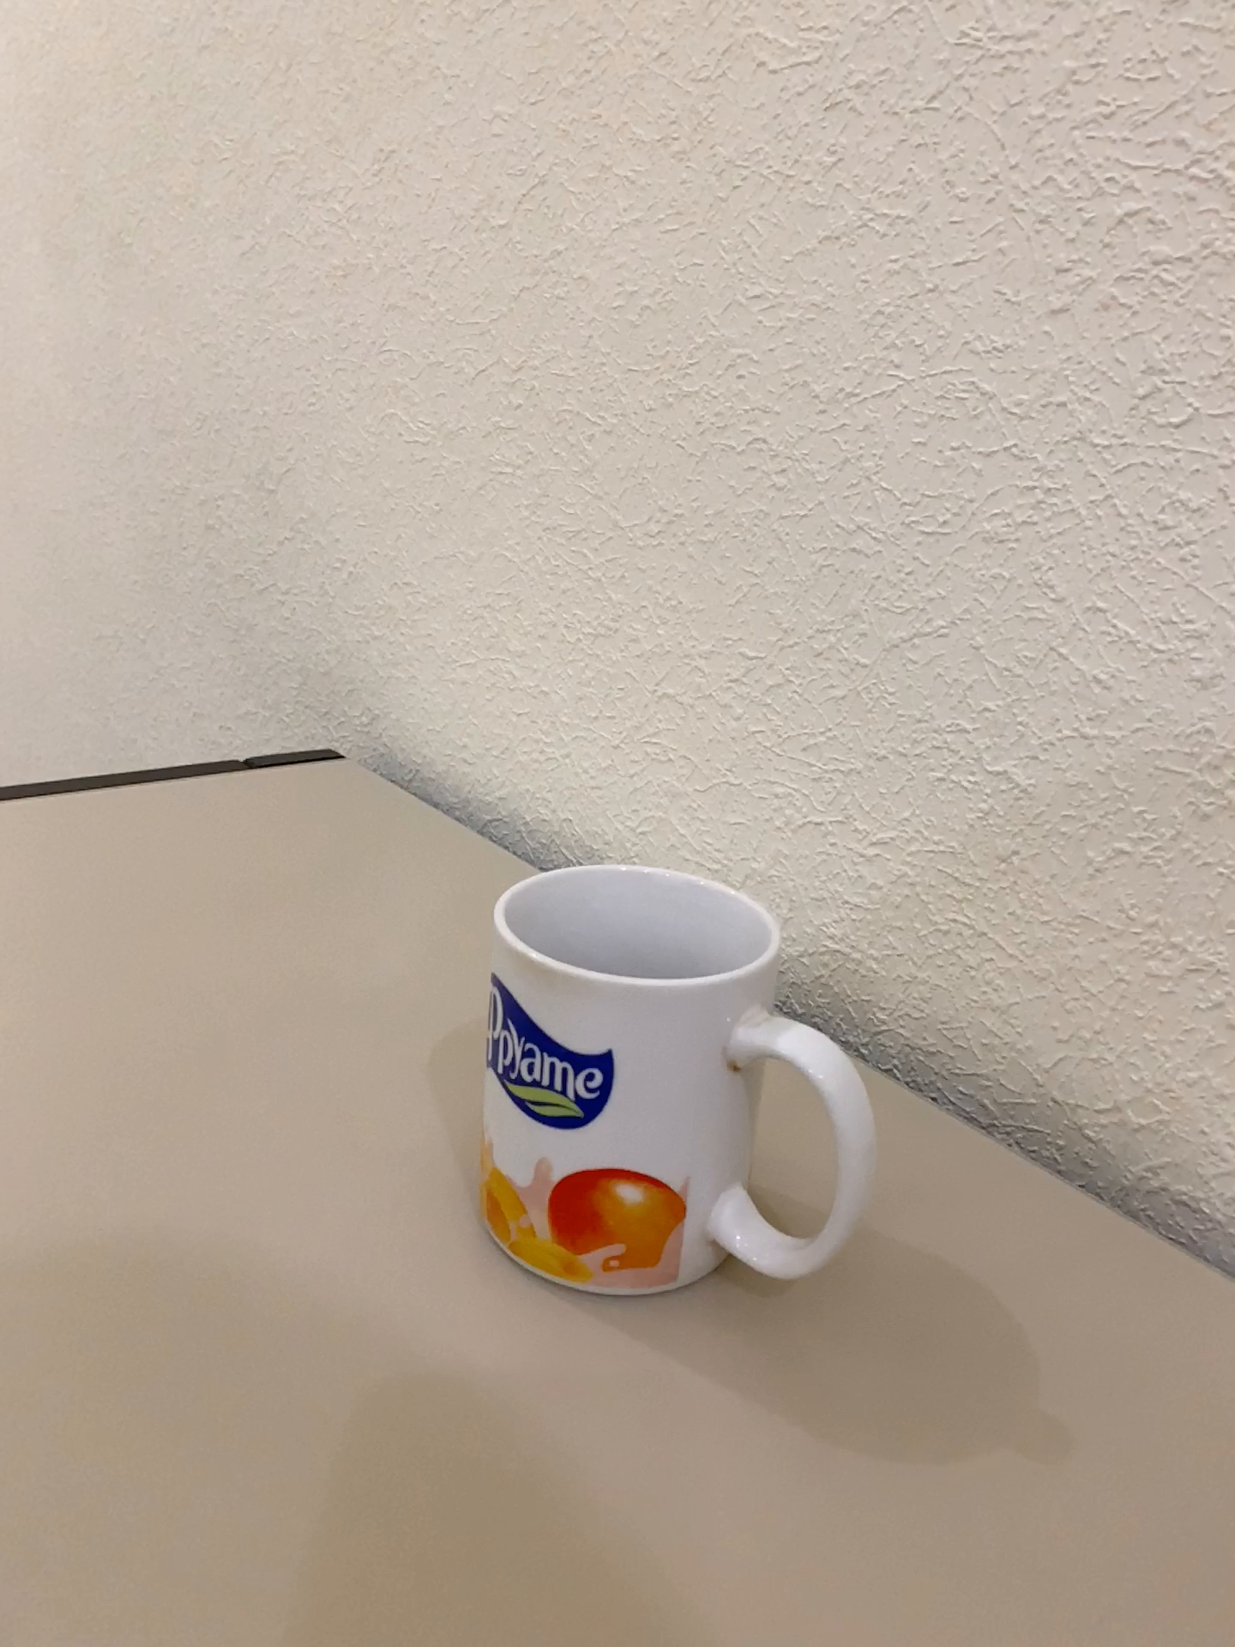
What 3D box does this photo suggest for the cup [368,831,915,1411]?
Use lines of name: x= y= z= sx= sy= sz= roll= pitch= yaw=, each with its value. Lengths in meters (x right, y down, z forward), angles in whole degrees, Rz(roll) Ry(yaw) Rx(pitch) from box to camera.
cup: x=0.003 y=0.070 z=0.346 sx=0.117 sy=0.092 sz=0.081 roll=20 pitch=24 yaw=36
